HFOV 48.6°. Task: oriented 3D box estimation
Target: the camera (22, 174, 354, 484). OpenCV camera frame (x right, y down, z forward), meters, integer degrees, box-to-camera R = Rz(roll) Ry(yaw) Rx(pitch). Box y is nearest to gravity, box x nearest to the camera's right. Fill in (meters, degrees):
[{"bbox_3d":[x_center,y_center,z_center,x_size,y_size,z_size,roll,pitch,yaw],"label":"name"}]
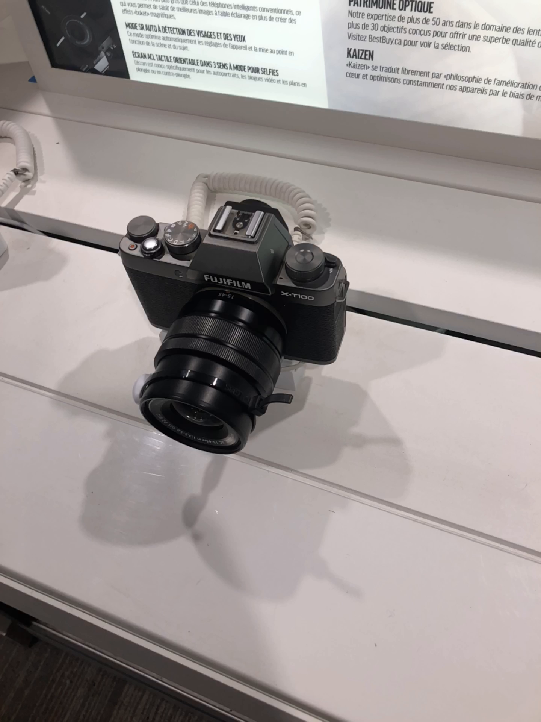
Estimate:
[{"bbox_3d":[-0.033,-0.020,0.331,0.130,0.099,0.107,14,55,17],"label":"camera"}]
